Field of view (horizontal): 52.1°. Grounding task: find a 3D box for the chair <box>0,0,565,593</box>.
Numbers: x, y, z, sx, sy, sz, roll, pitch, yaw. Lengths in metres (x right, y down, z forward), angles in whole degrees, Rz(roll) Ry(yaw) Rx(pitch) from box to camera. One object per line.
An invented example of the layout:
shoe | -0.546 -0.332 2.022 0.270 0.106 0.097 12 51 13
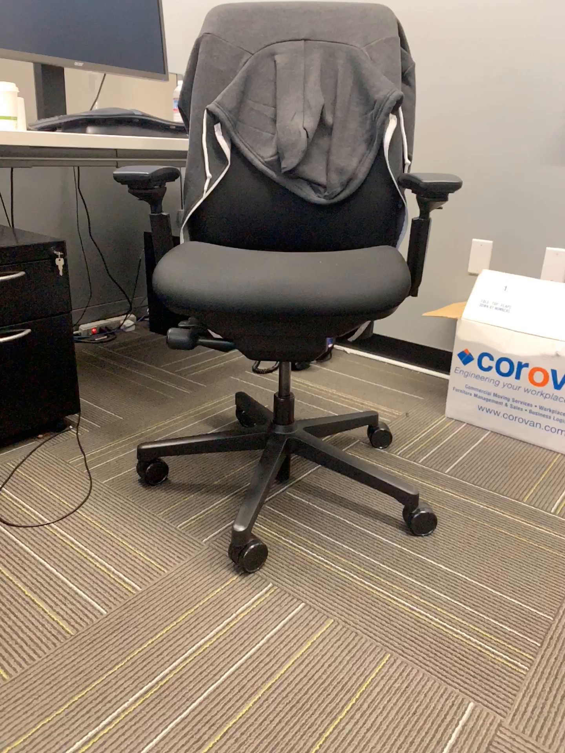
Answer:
chair | 0.003 -0.299 1.278 0.750 1.075 0.884 4 21 4
